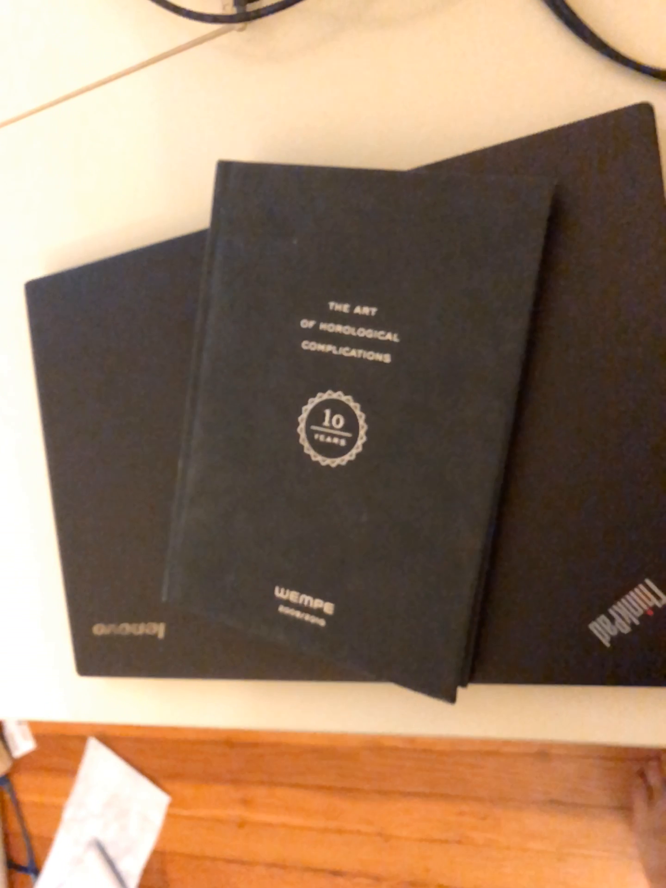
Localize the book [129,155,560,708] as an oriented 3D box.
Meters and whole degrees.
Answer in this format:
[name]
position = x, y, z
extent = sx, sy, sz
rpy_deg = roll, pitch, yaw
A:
[book]
position = -0.004, -0.015, 0.347
extent = 0.170, 0.030, 0.220
rpy_deg = 12, 97, 24
